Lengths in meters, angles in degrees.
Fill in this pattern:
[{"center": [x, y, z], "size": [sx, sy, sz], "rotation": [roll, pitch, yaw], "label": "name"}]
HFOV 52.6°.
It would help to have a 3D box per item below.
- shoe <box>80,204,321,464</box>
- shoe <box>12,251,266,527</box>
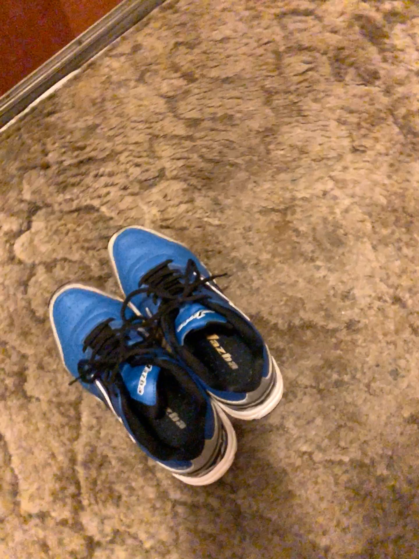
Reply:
[{"center": [-0.015, 0.061, 0.501], "size": [0.100, 0.119, 0.281], "rotation": [-39, 71, -9], "label": "shoe"}, {"center": [-0.074, 0.111, 0.471], "size": [0.100, 0.119, 0.271], "rotation": [-43, 72, -10], "label": "shoe"}]
